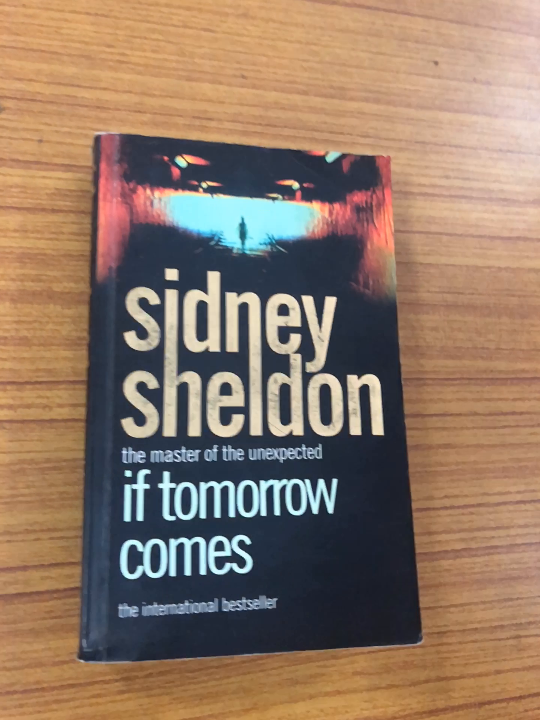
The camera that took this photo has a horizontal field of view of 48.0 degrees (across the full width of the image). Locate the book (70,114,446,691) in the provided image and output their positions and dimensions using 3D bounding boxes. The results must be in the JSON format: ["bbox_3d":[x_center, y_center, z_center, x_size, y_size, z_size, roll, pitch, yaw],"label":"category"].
[{"bbox_3d":[-0.006,0.009,0.213,0.114,0.034,0.176,1,79,-13],"label":"book"}]
